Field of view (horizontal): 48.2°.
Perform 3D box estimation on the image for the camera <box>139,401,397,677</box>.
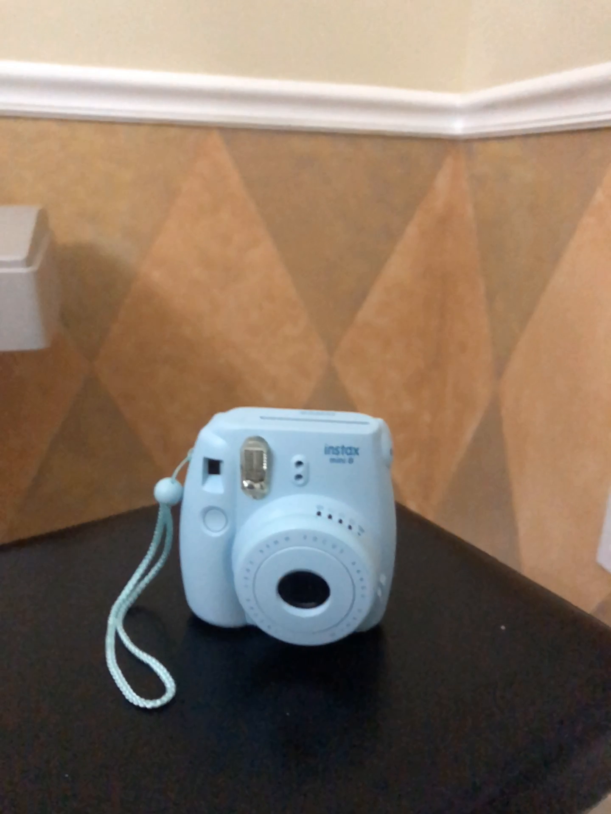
[{"bbox_3d":[-0.017,0.067,0.365,0.120,0.118,0.068,3,18,4],"label":"camera"}]
